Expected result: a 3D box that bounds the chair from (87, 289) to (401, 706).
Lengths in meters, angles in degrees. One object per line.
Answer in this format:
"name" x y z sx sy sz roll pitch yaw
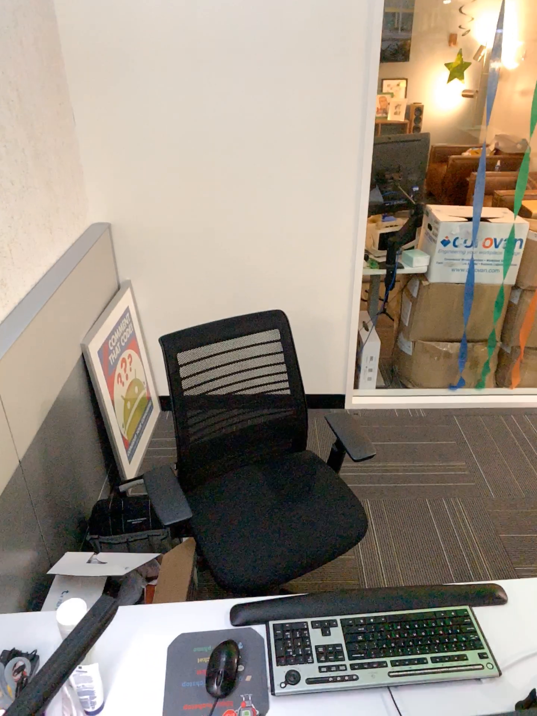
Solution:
"chair" -0.096 0.400 1.780 0.670 0.954 0.654 -16 34 -23
